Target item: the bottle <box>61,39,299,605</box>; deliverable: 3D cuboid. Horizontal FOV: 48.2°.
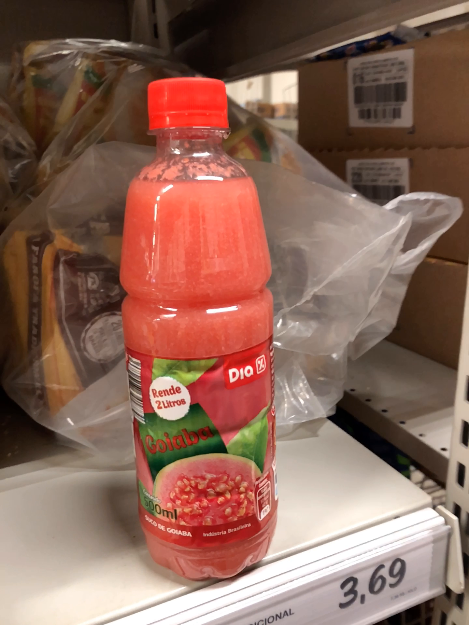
[{"bbox_3d":[-0.017,0.007,0.237,0.070,0.219,0.070,0,16,0],"label":"bottle"}]
